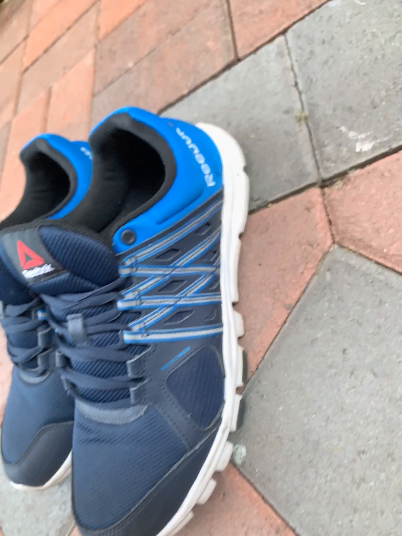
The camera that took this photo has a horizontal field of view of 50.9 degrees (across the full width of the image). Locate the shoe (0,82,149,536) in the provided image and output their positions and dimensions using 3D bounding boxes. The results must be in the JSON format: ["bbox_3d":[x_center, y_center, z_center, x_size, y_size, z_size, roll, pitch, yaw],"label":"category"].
[{"bbox_3d":[-0.143,0.025,0.316,0.111,0.119,0.261,-3,71,40],"label":"shoe"}]

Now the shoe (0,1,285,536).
[{"bbox_3d":[-0.043,0.021,0.252,0.111,0.119,0.281,-3,71,40],"label":"shoe"}]
